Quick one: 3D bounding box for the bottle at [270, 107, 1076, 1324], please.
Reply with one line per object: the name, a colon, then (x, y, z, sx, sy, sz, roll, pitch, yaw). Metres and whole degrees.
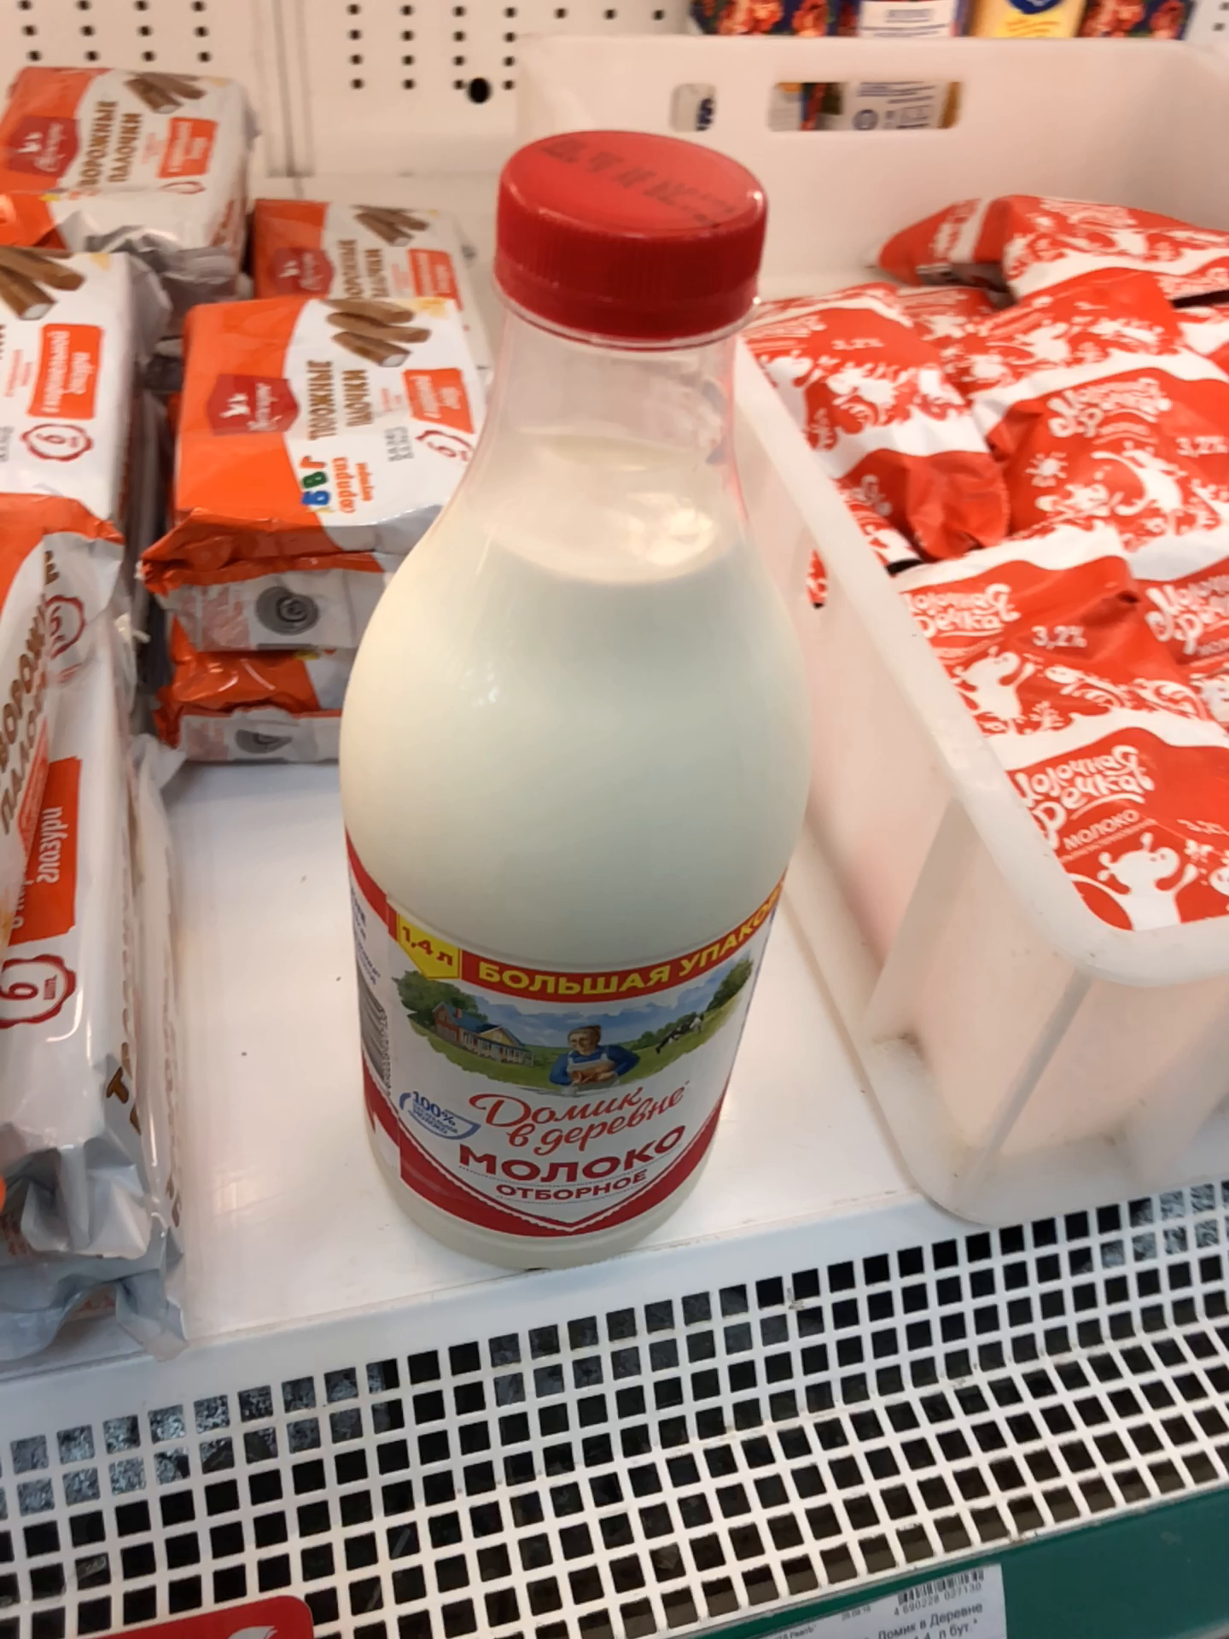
bottle: (-0.009, -0.001, 0.292, 0.100, 0.249, 0.101, 3, 46, -3)
